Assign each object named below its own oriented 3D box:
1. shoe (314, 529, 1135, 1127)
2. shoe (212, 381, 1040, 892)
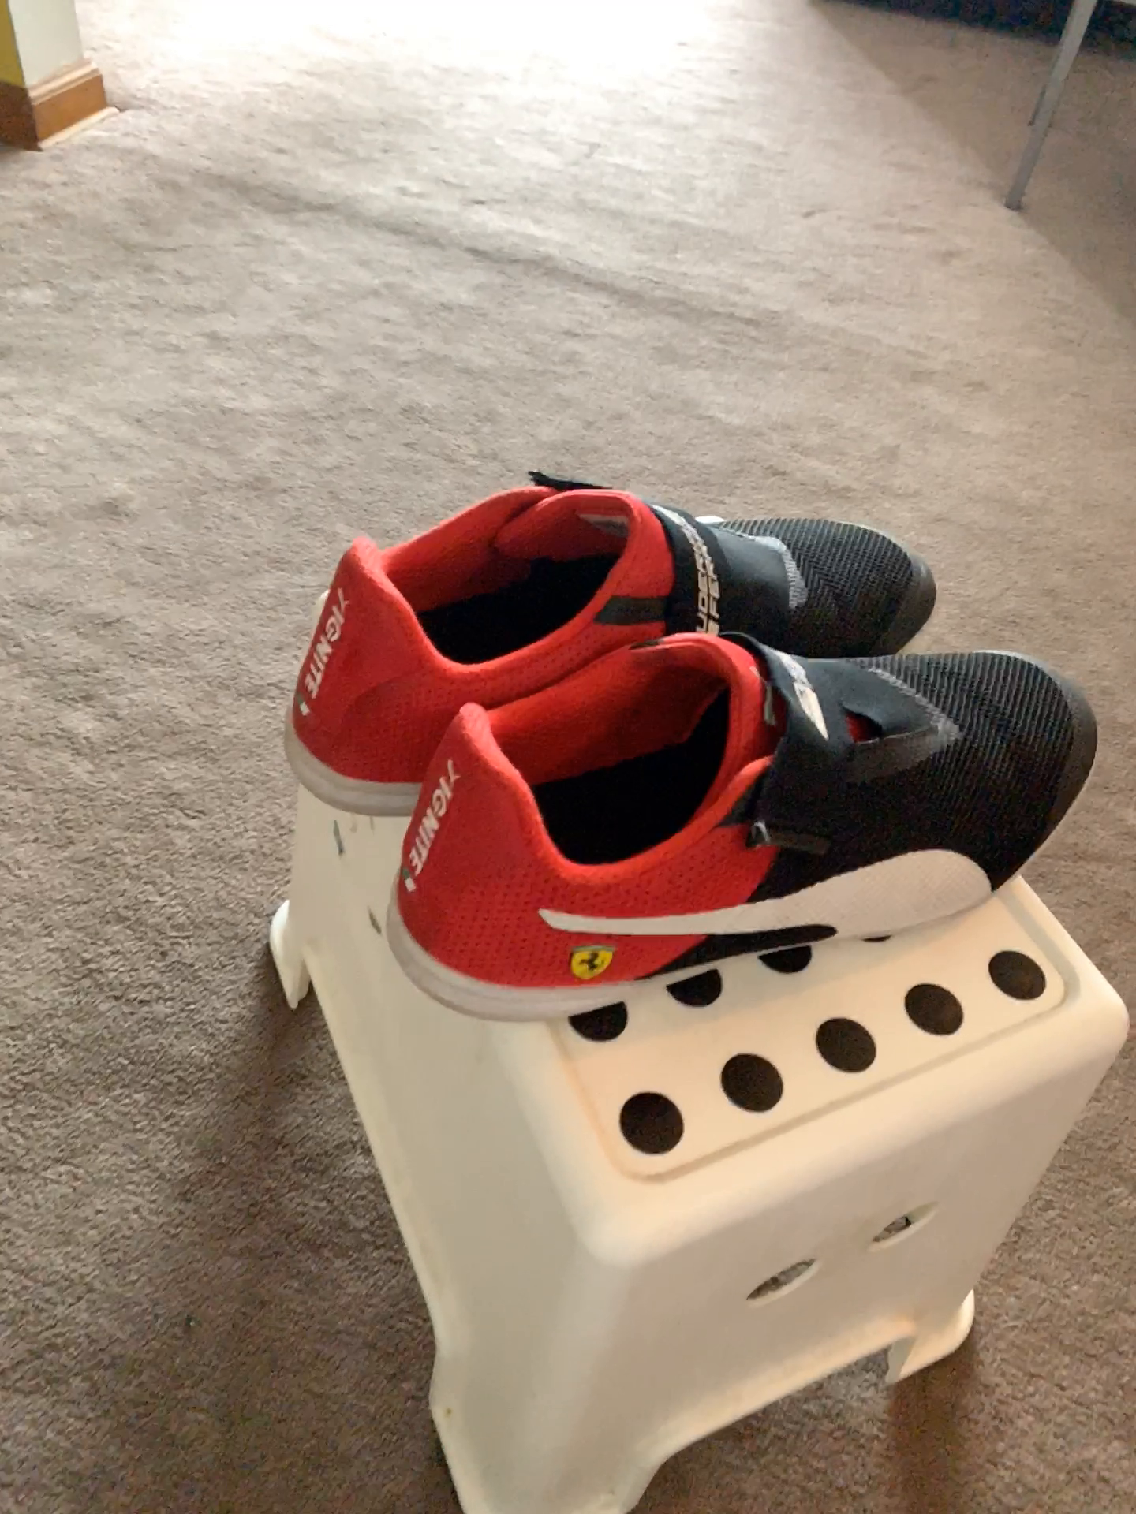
[{"bbox_3d":[0.071,0.014,0.427,0.301,0.099,0.101,-16,52,-22],"label":"shoe"},{"bbox_3d":[0.025,-0.060,0.479,0.301,0.099,0.111,-16,52,-22],"label":"shoe"}]
